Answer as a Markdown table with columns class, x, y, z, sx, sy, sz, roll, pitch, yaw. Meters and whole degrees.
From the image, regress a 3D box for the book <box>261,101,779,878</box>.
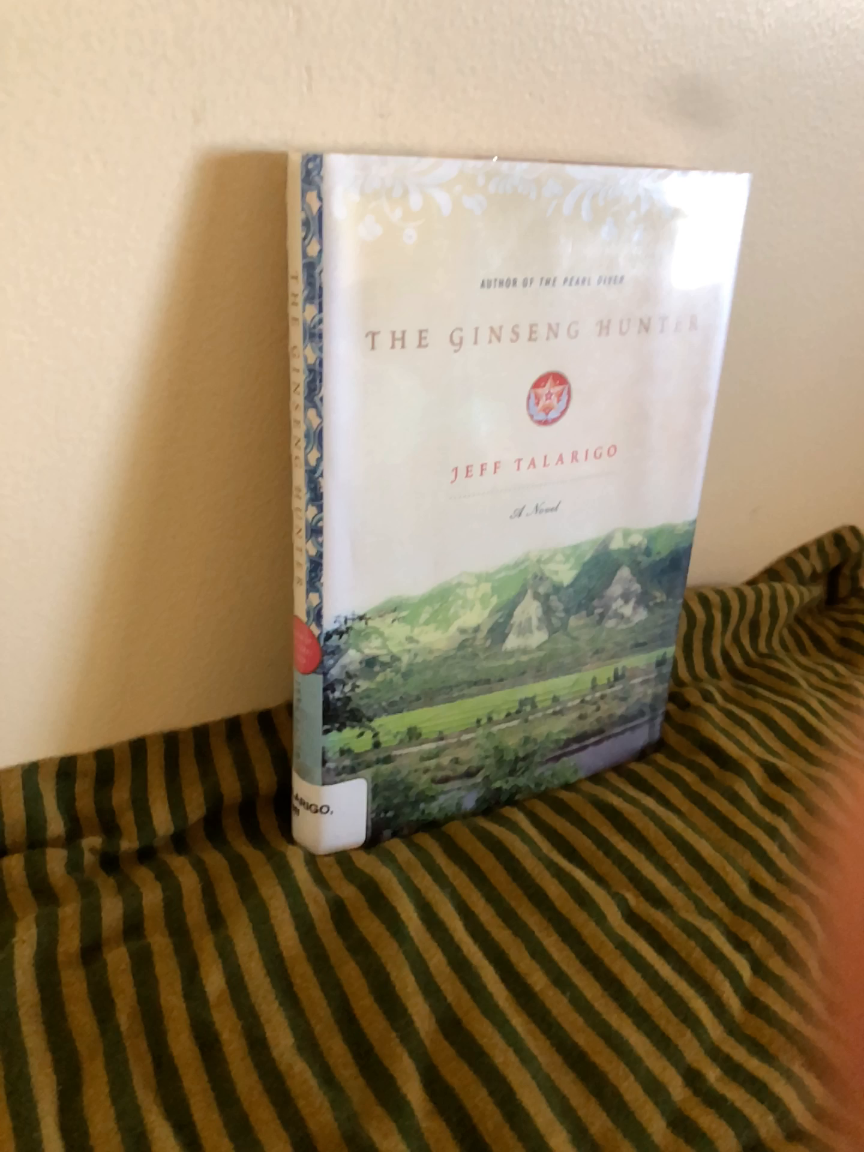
| class | x | y | z | sx | sy | sz | roll | pitch | yaw |
| --- | --- | --- | --- | --- | --- | --- | --- | --- | --- |
| book | 0.022 | -0.020 | 0.286 | 0.137 | 0.203 | 0.029 | -11 | 31 | -33 |
